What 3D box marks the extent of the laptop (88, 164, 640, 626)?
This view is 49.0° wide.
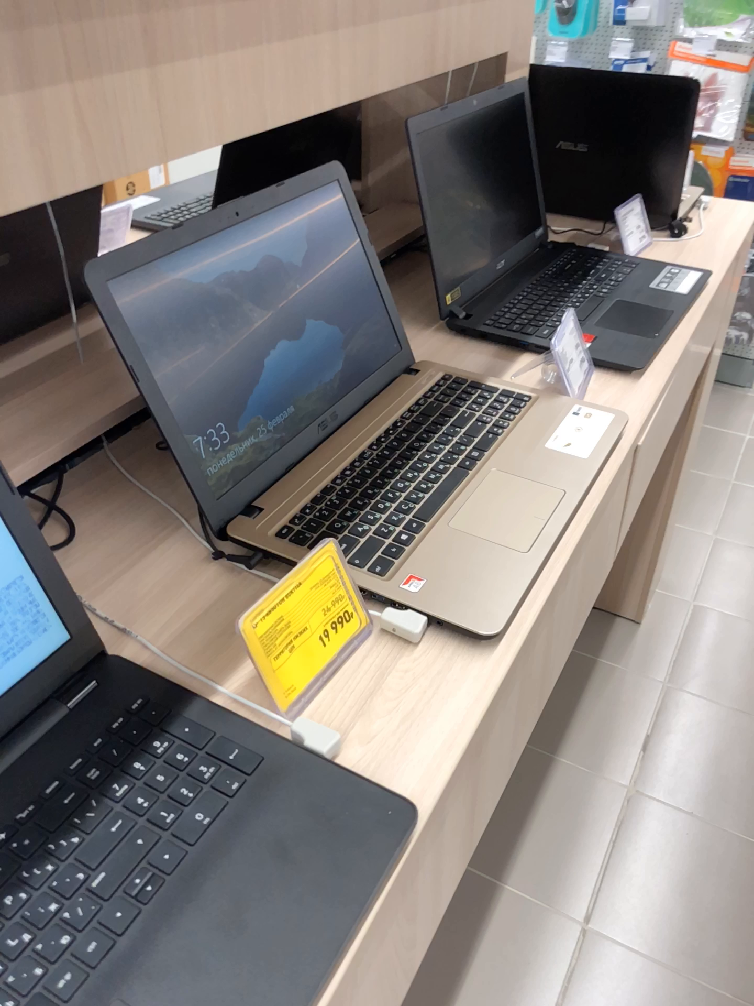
[{"bbox_3d":[0.012,-0.140,0.763,0.350,0.208,0.368,18,38,21],"label":"laptop"}]
